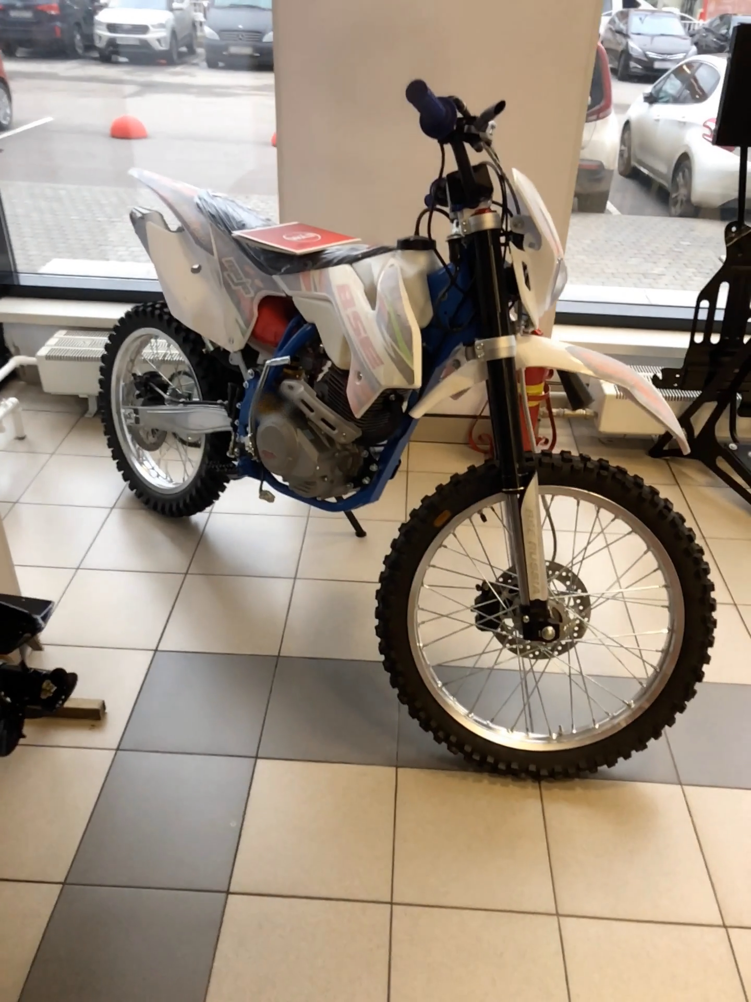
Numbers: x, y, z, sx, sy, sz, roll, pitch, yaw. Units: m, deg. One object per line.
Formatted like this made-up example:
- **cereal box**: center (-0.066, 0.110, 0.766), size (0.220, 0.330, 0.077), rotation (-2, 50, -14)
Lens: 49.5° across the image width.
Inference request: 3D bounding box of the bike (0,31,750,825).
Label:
- **bike**: center (0.016, -0.366, 2.038), size (1.847, 1.219, 0.845), rotation (24, 38, 28)
